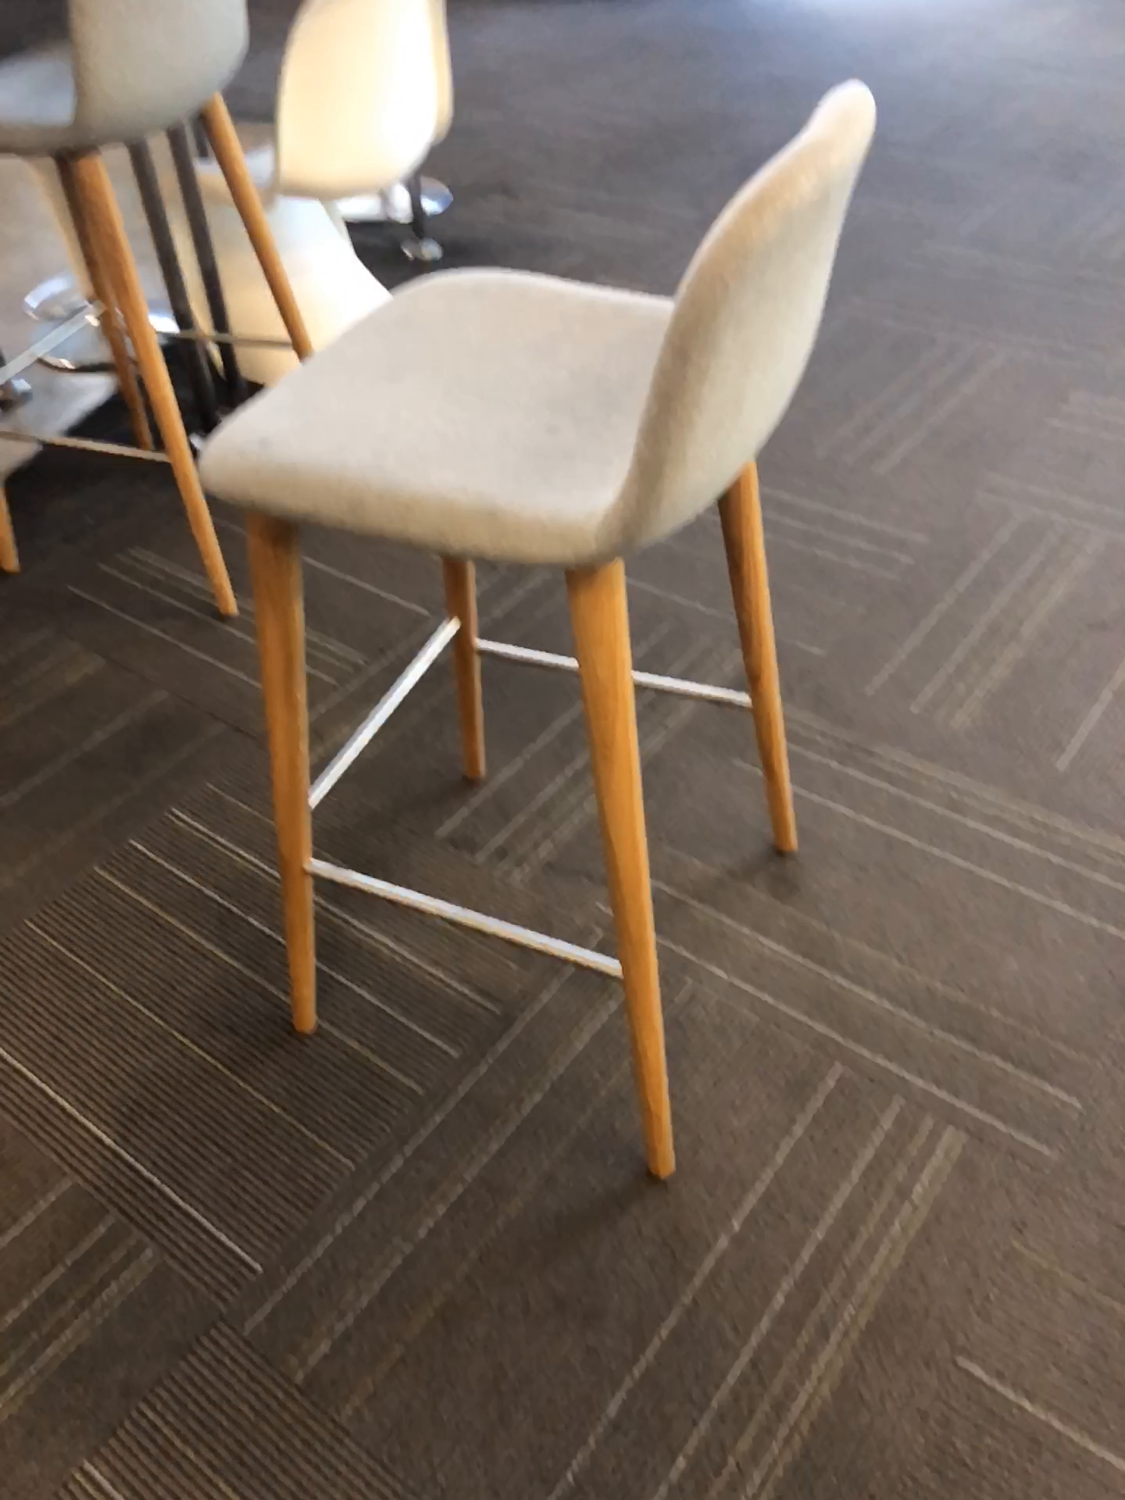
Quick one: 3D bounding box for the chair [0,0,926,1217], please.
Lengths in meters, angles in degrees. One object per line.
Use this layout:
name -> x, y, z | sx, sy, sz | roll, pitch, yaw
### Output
chair -> -0.048, -0.141, 1.186 | 0.561, 0.945, 0.572 | 12, 42, 18
